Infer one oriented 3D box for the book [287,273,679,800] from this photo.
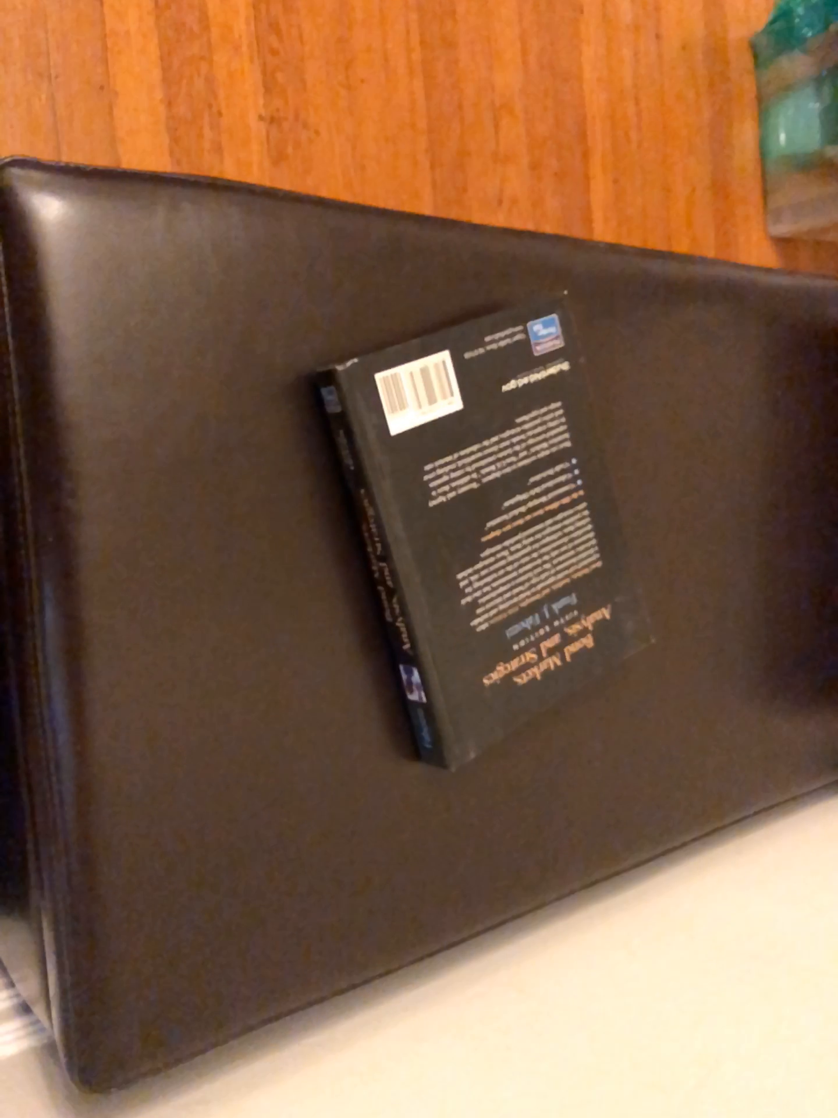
[{"bbox_3d":[0.053,-0.021,0.568,0.201,0.040,0.260,-25,105,-33],"label":"book"}]
